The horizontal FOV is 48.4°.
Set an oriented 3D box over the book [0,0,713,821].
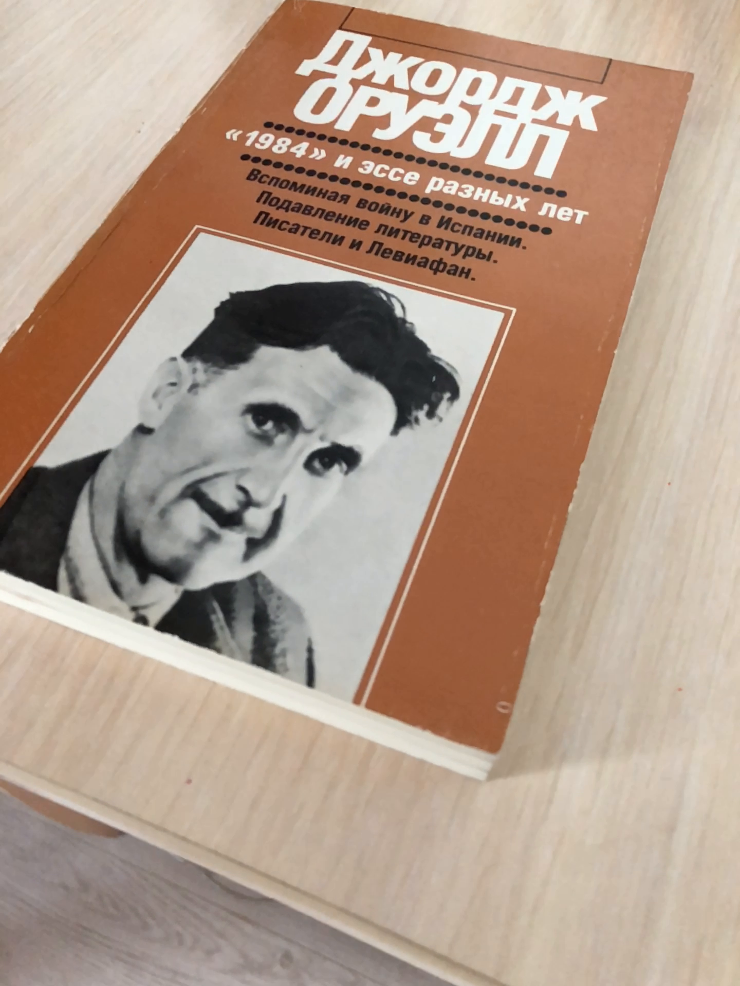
[{"bbox_3d":[-0.003,-0.052,0.200,0.130,0.040,0.211,17,59,12],"label":"book"}]
